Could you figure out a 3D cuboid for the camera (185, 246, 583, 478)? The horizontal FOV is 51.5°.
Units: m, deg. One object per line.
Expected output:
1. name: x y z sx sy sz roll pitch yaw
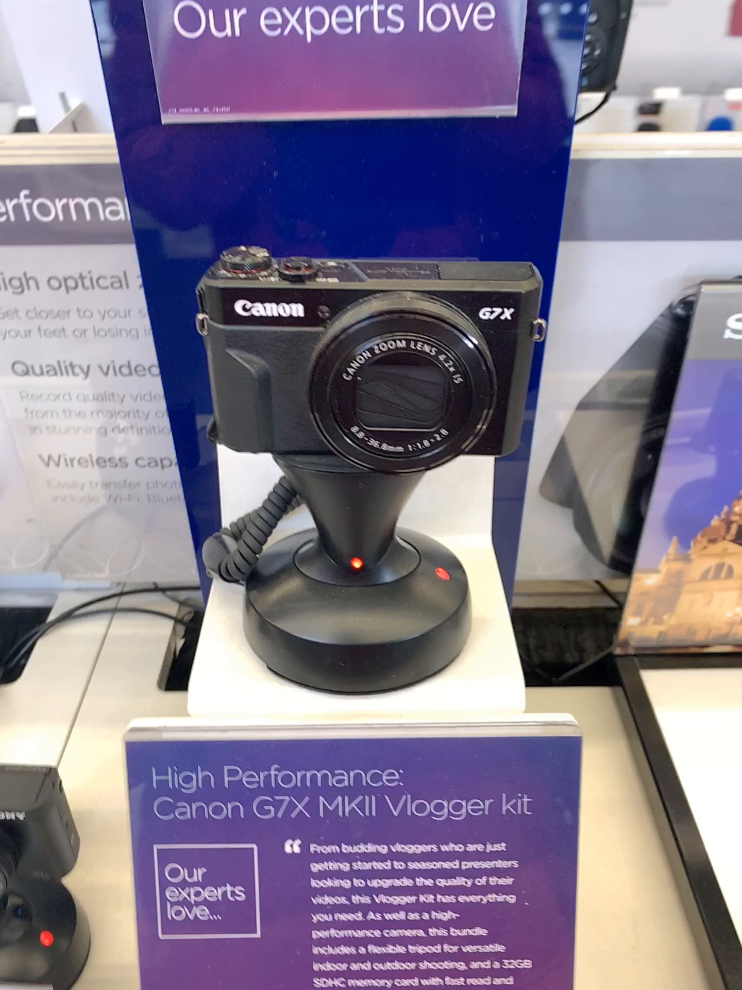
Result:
1. camera: 0.004 -0.042 0.241 0.108 0.059 0.038 1 33 3
